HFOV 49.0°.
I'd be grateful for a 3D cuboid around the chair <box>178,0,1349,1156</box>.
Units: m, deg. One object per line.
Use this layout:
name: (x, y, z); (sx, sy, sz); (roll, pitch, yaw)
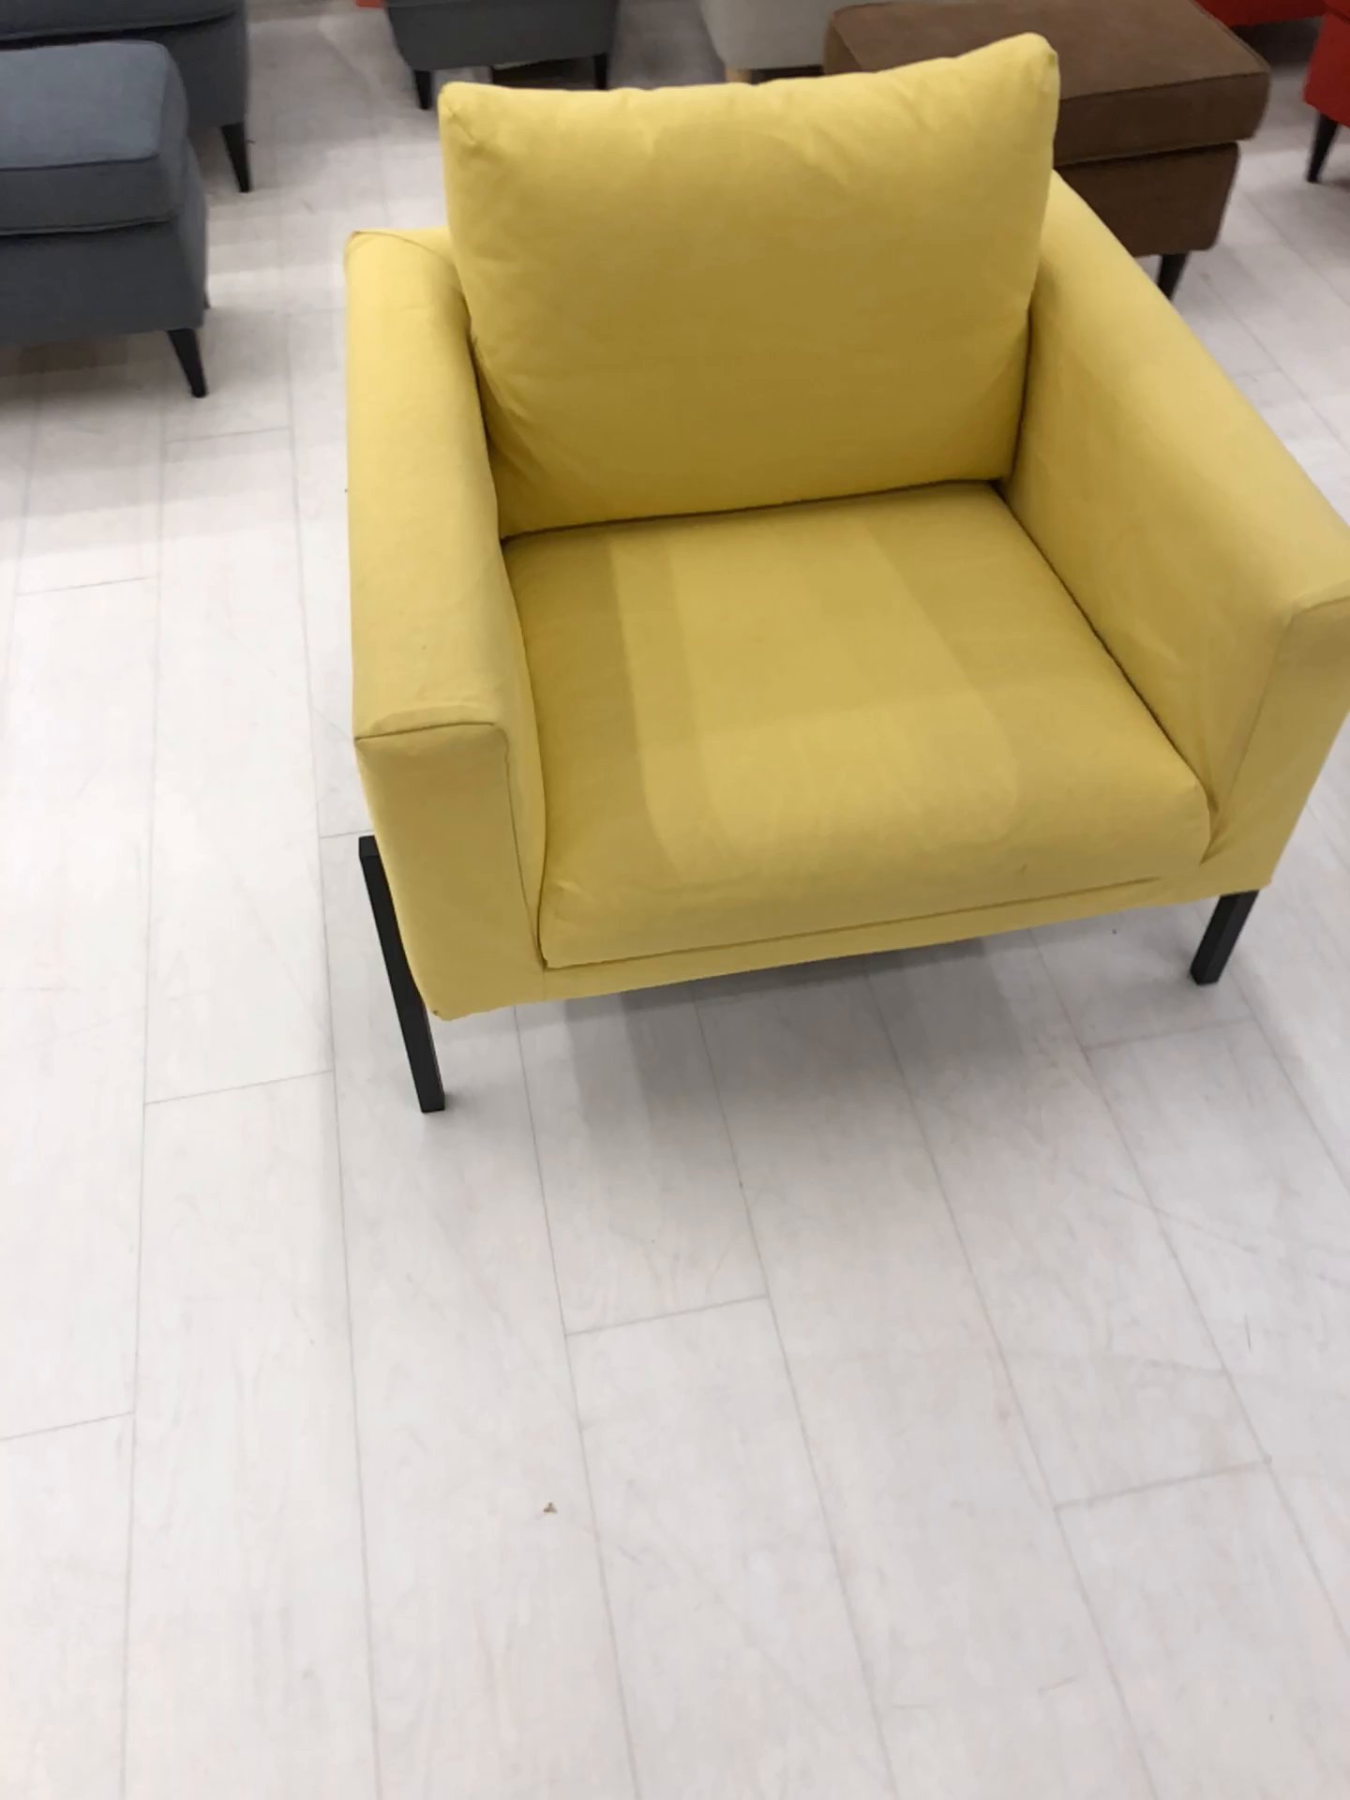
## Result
chair: (0.117, -0.322, 1.456); (0.980, 0.758, 0.692); (-9, 52, -7)
